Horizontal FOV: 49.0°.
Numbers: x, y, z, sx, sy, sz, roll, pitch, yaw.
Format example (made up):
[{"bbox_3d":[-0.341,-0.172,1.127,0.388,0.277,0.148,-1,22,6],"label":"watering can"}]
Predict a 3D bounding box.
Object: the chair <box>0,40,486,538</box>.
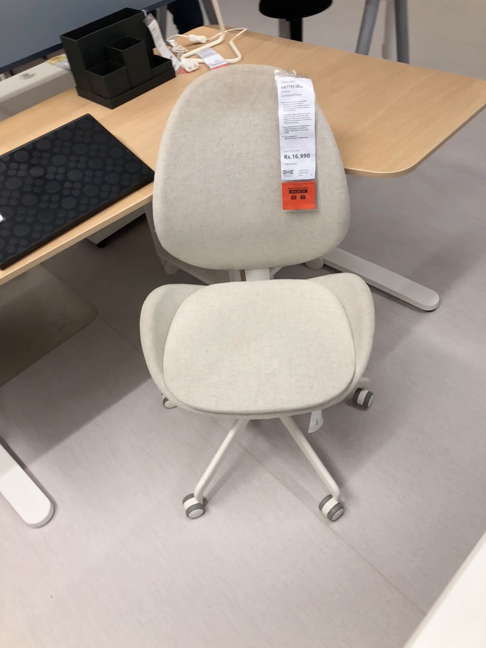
[{"bbox_3d":[0.037,-0.004,1.286,0.660,0.993,0.624,-4,47,4],"label":"chair"}]
